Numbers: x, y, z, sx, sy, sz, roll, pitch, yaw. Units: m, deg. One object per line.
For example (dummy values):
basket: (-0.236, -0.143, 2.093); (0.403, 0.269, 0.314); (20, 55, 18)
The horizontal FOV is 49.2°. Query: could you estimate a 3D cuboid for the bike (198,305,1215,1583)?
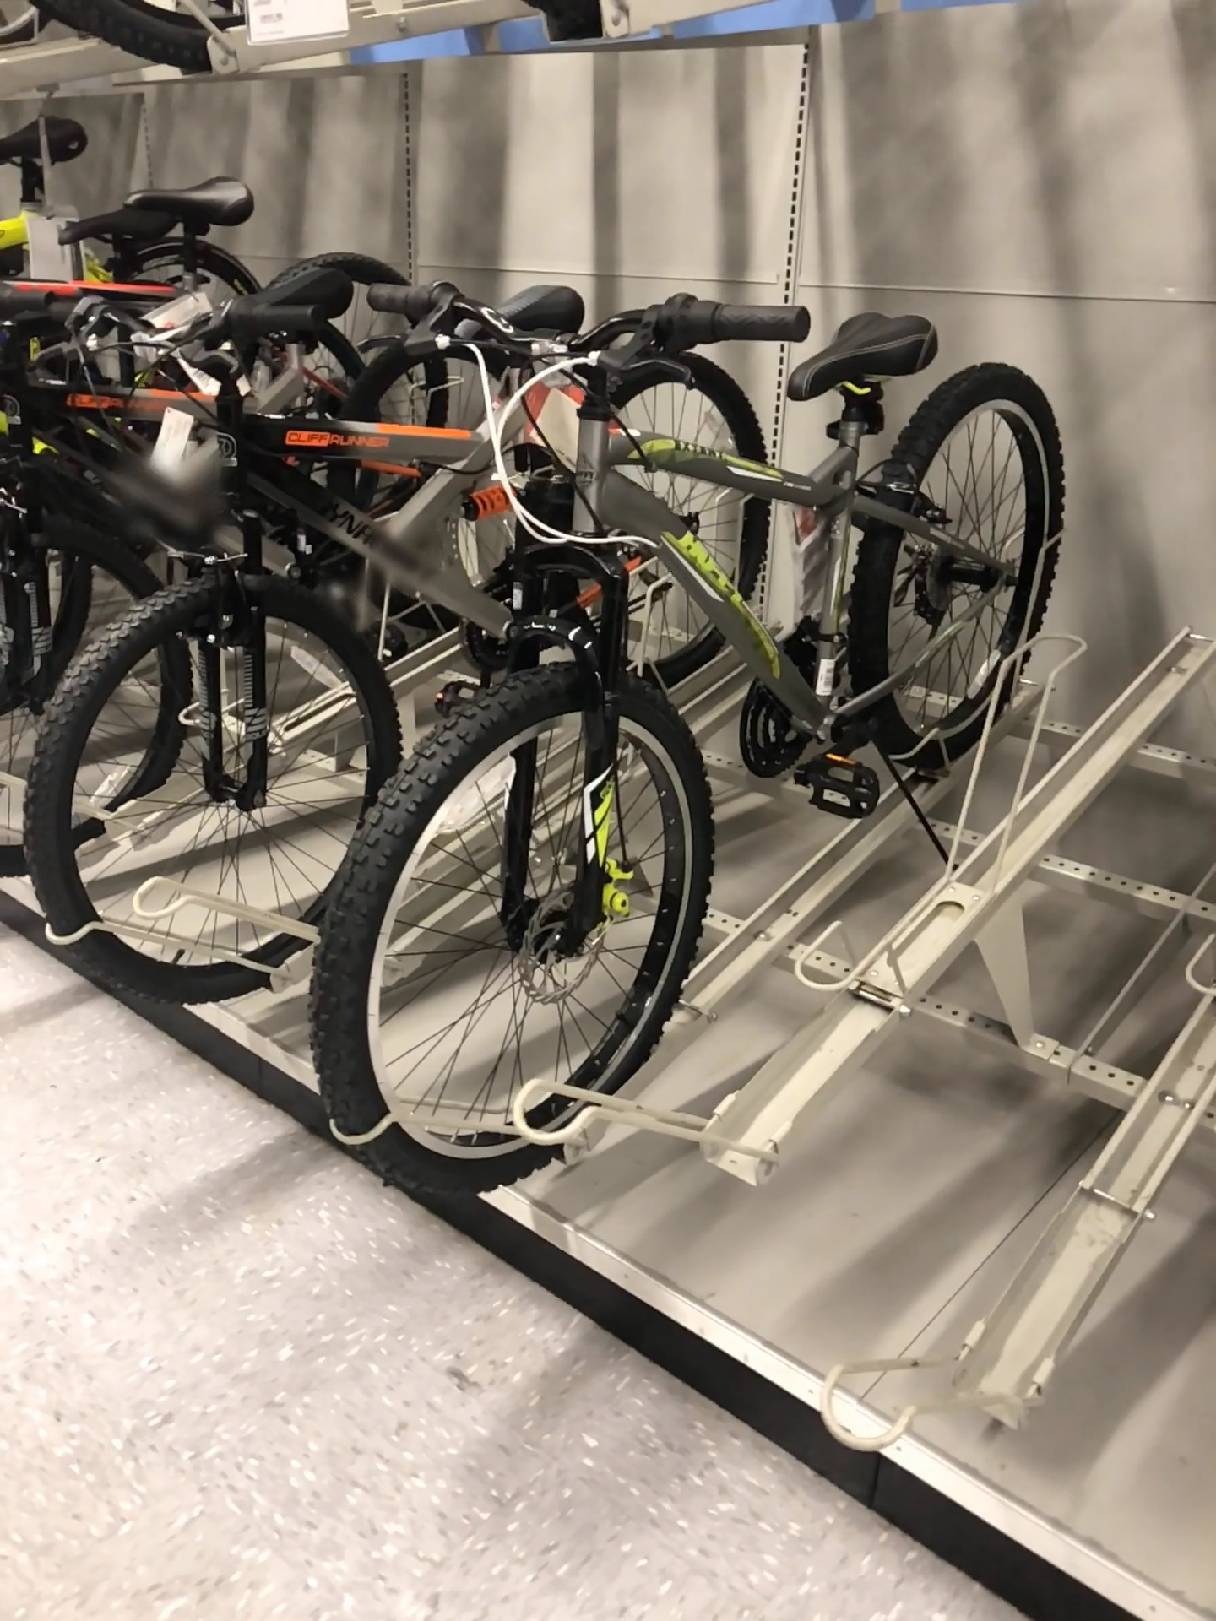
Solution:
bike: (0.316, -0.084, 1.886); (0.609, 0.729, 1.721); (20, 40, 38)
